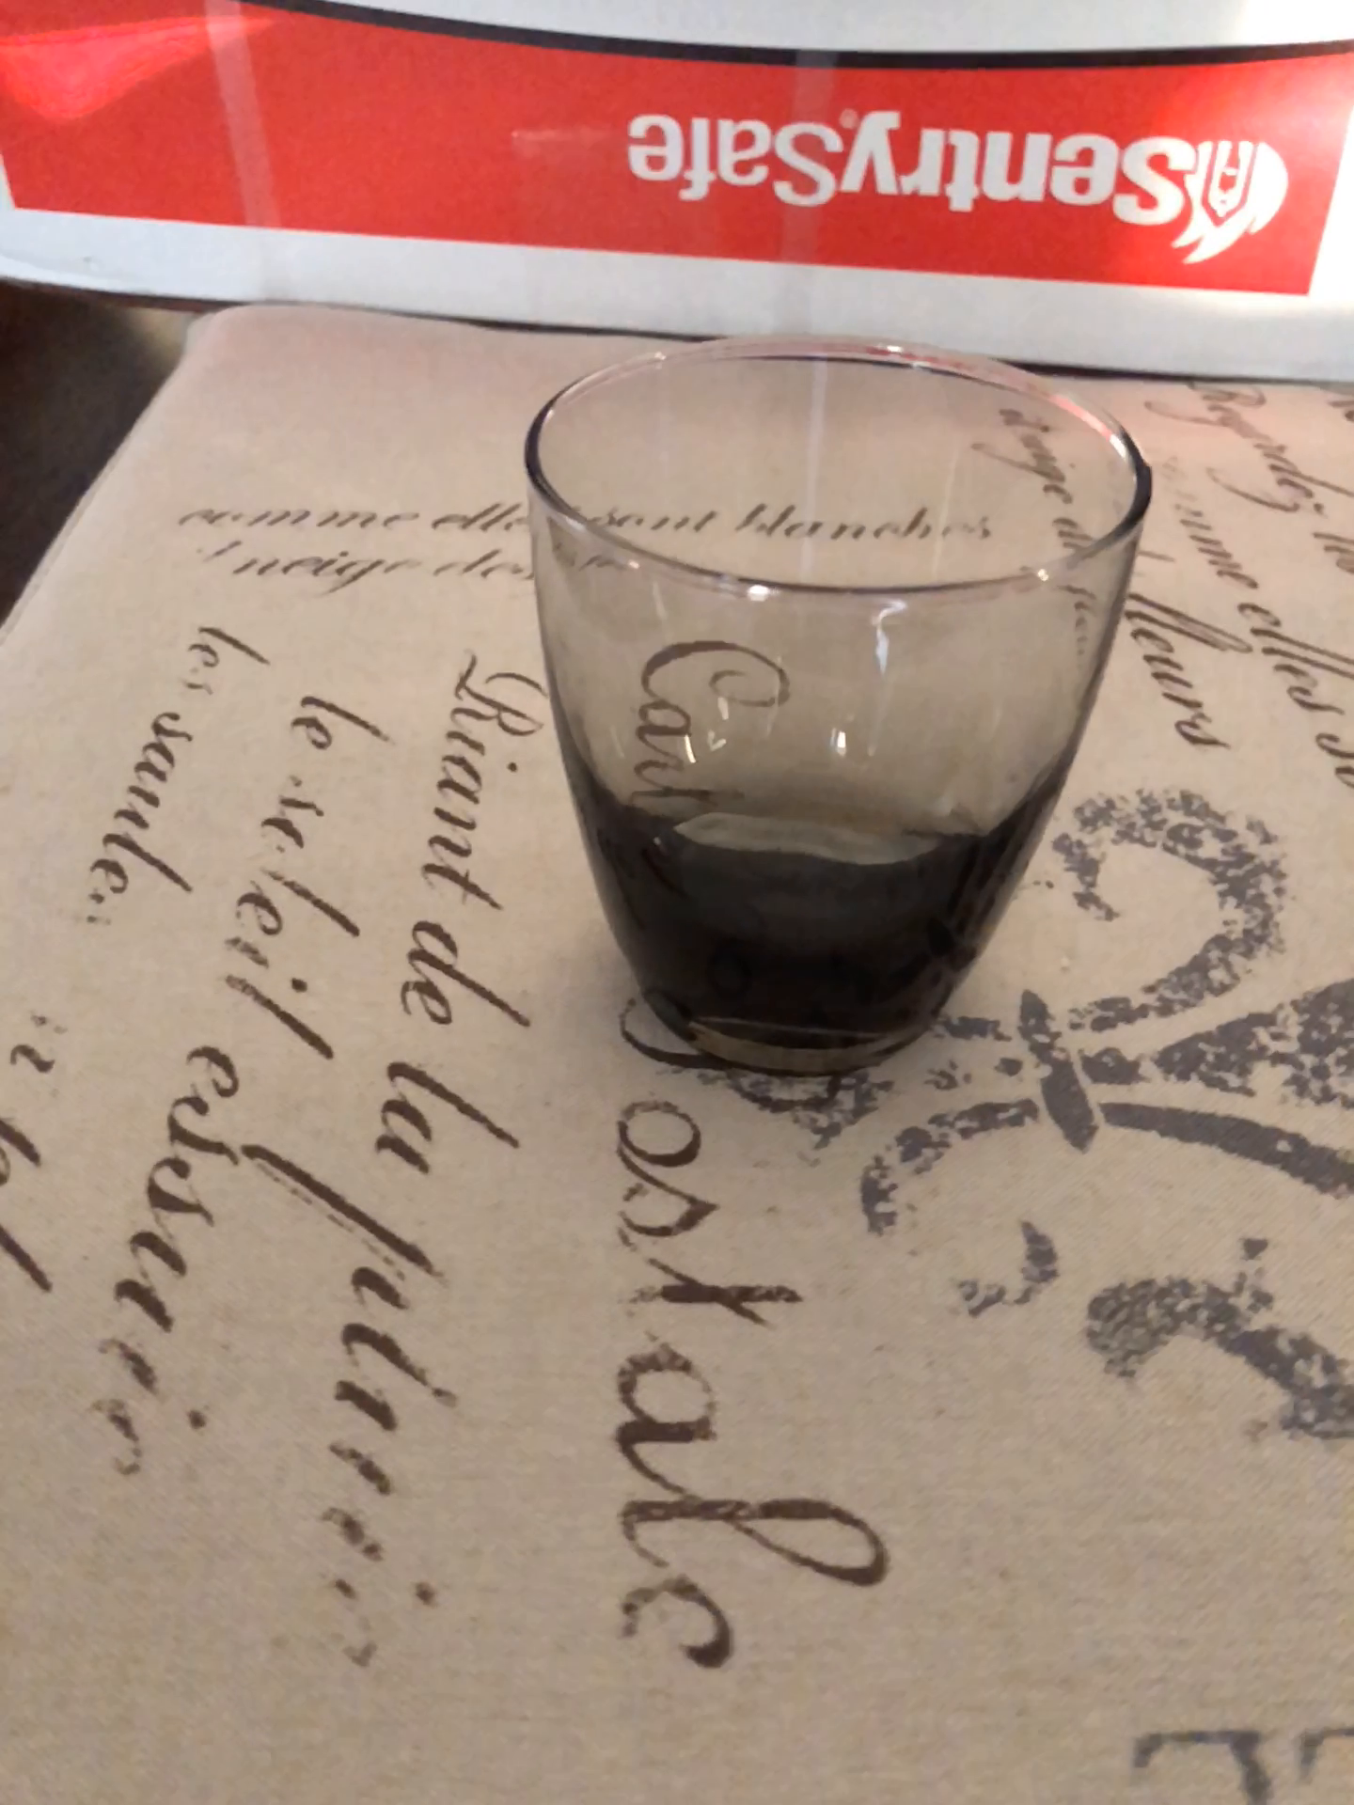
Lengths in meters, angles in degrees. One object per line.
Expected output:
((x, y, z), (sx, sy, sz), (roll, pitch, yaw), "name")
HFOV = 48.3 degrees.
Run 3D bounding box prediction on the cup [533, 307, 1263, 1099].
((0.023, -0.034, 0.243), (0.088, 0.092, 0.088), (1, 40, -1), "cup")
